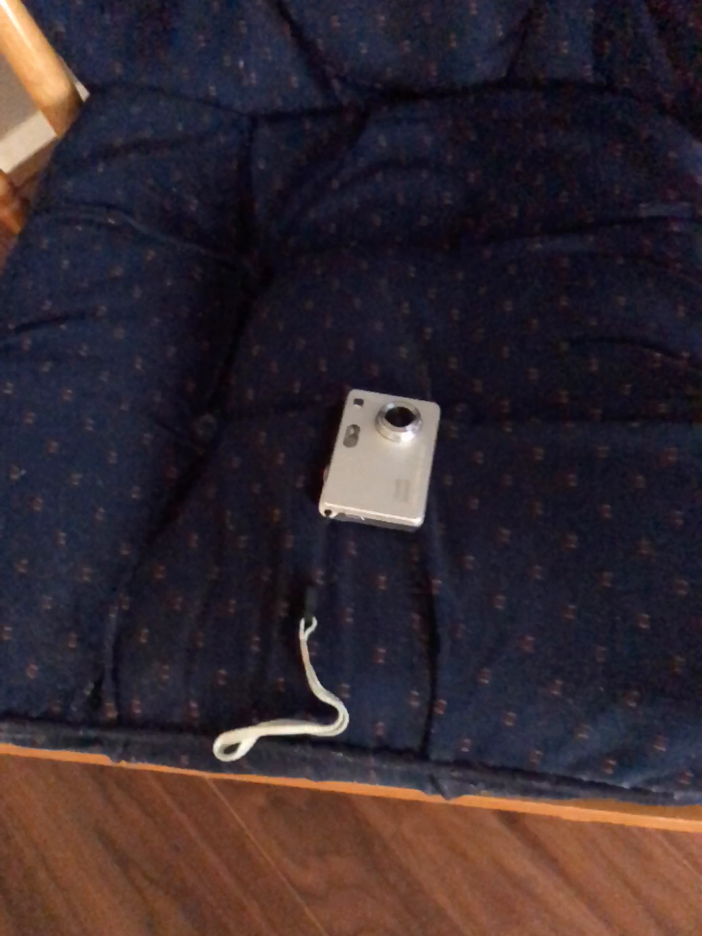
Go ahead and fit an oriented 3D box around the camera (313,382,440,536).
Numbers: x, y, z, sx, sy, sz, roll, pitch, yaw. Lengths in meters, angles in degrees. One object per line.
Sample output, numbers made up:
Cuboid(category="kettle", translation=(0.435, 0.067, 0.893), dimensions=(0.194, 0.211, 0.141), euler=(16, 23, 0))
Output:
Cuboid(category="camera", translation=(0.016, -0.007, 0.442), dimensions=(0.058, 0.018, 0.085), euler=(9, 56, 5))
